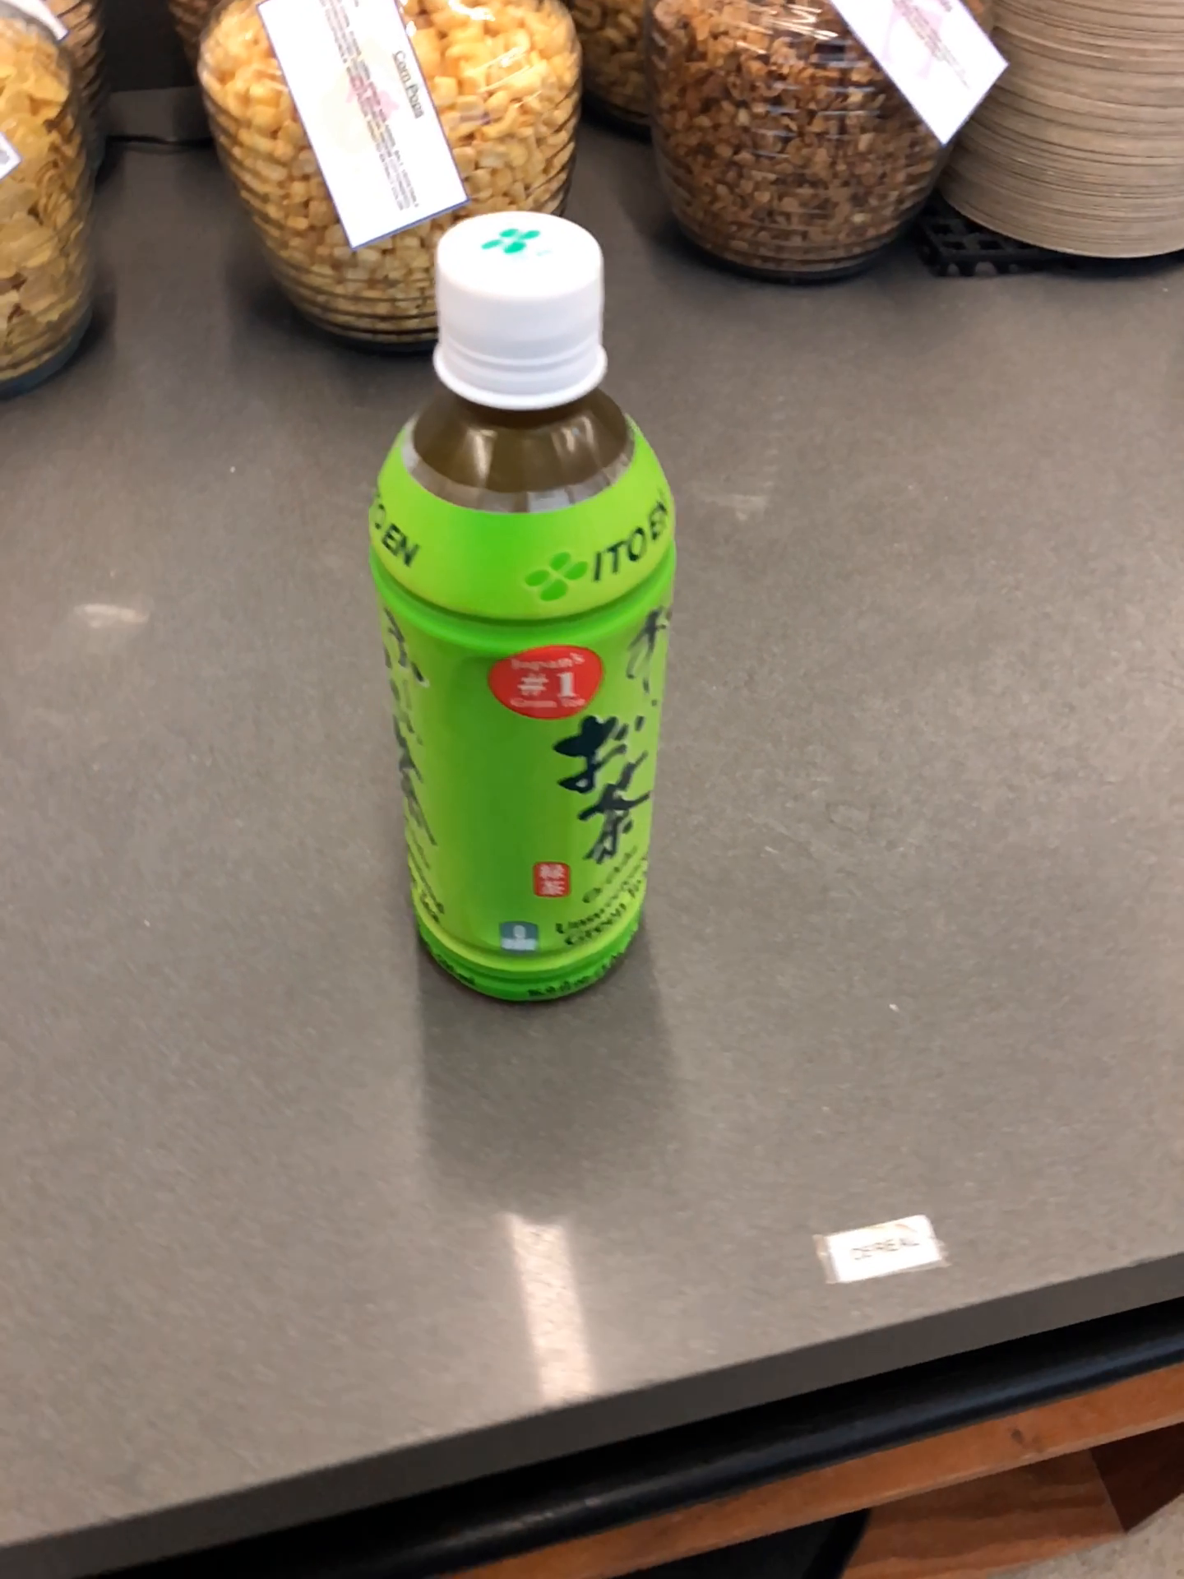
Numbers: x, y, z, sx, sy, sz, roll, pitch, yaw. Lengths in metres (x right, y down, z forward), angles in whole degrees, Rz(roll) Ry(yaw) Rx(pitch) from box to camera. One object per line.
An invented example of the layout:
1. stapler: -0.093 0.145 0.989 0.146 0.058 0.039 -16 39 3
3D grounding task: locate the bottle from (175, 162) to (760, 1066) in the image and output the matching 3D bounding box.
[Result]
1. bottle: -0.021 -0.028 0.310 0.080 0.189 0.080 1 49 -1
